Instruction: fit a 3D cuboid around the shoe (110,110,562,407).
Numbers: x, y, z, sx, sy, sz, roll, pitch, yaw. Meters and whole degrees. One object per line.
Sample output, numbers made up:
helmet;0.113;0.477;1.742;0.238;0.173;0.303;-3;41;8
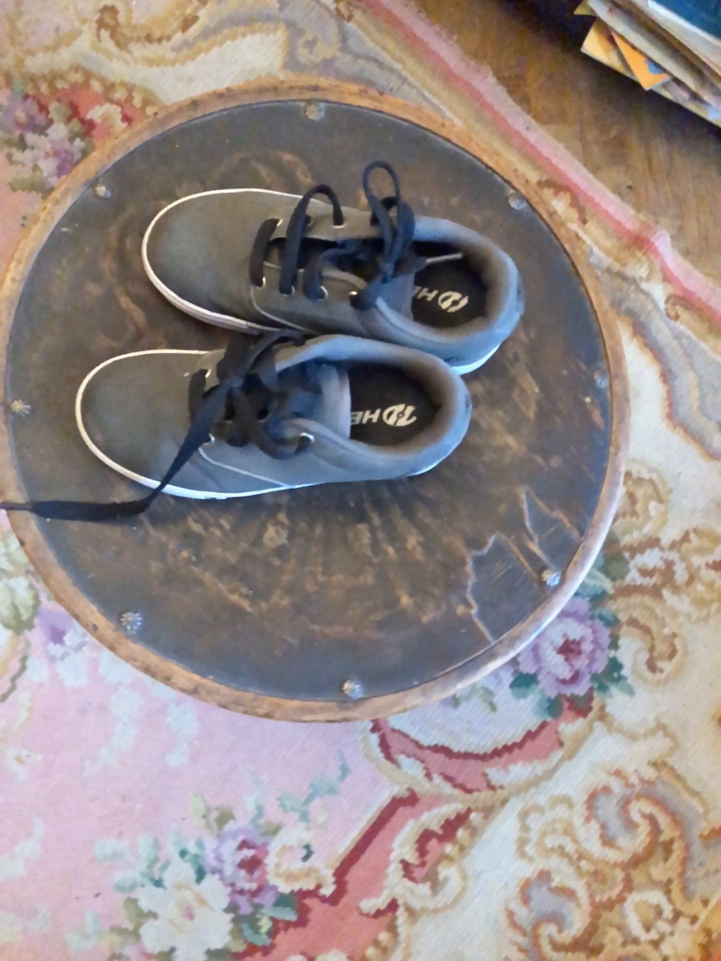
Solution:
shoe;-0.013;-0.113;0.439;0.211;0.100;0.090;10;83;-6

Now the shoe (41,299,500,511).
shoe;-0.044;-0.032;0.421;0.211;0.100;0.090;1;84;-7
